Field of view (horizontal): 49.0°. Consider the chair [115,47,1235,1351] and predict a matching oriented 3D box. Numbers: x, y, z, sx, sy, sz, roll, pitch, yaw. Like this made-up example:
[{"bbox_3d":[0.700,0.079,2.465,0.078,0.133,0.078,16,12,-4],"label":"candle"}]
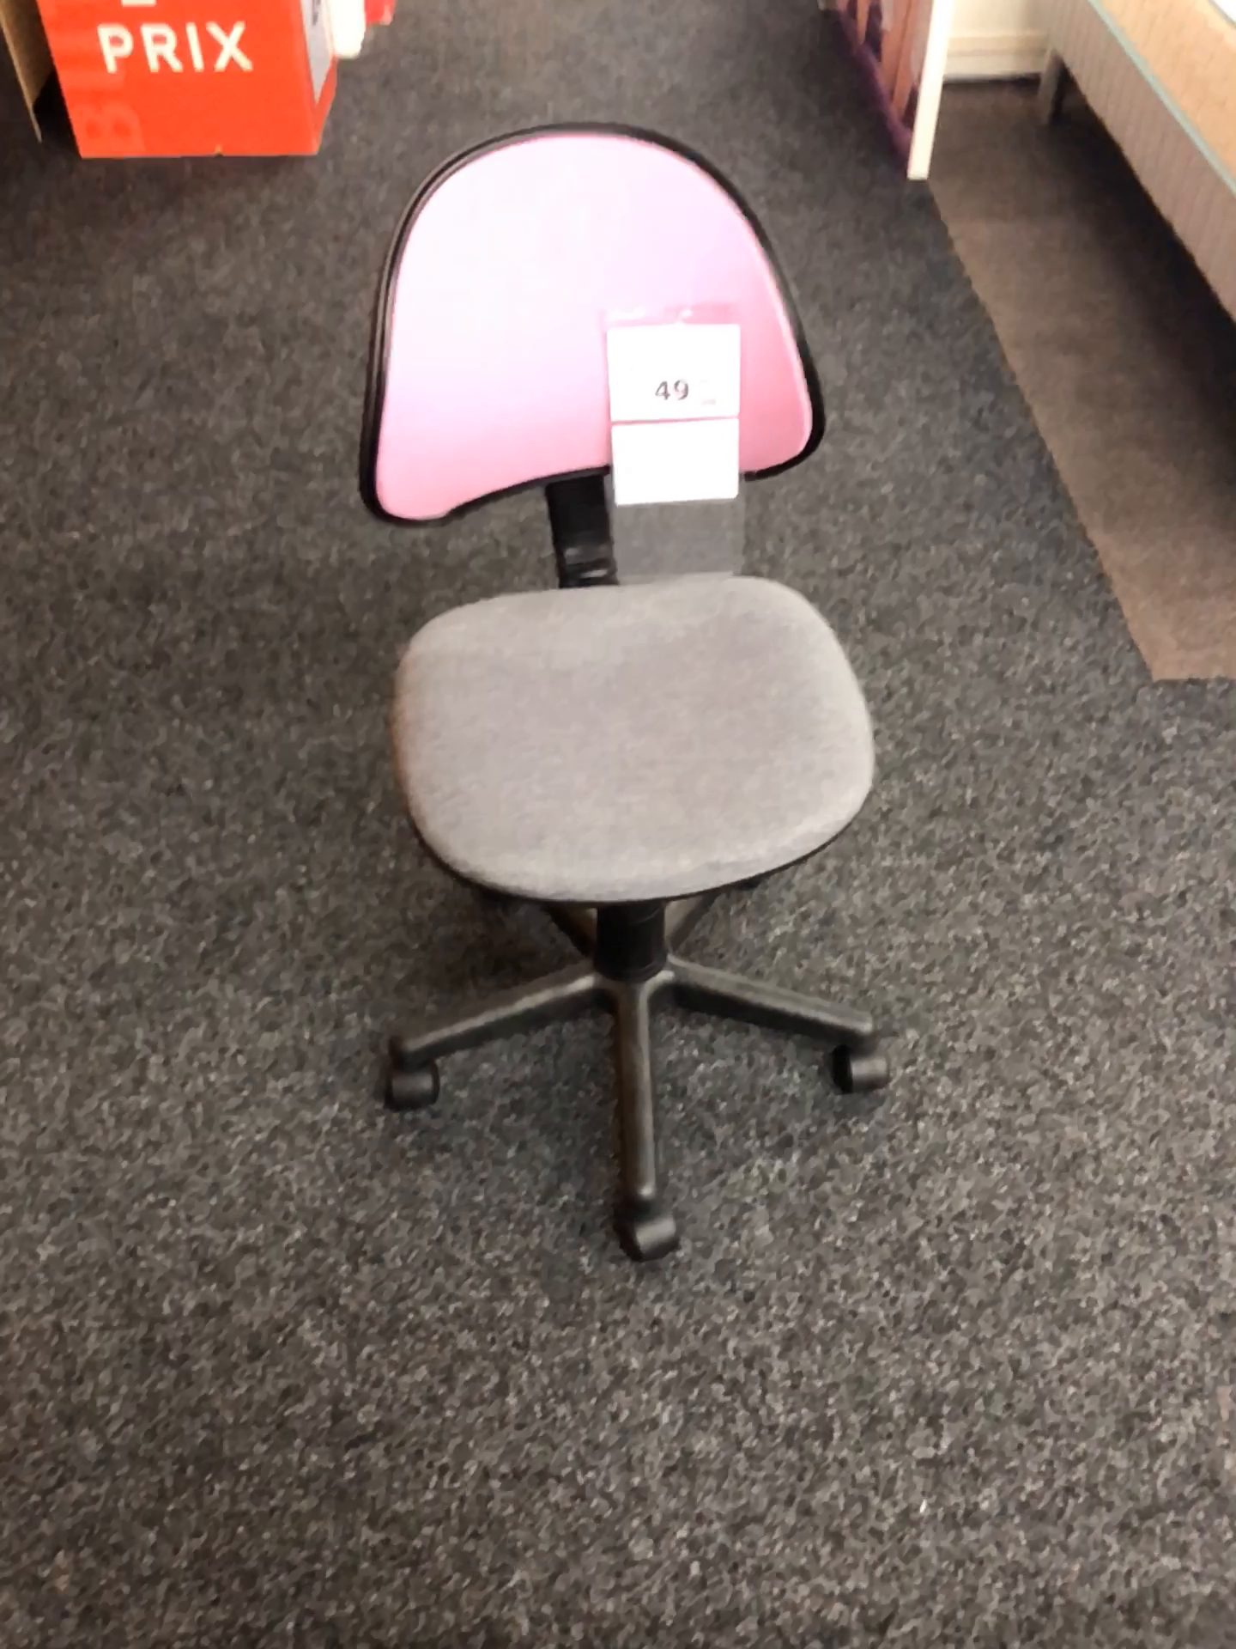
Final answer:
[{"bbox_3d":[0.022,-0.093,1.143,0.601,0.776,0.602,-15,49,-12],"label":"chair"}]
